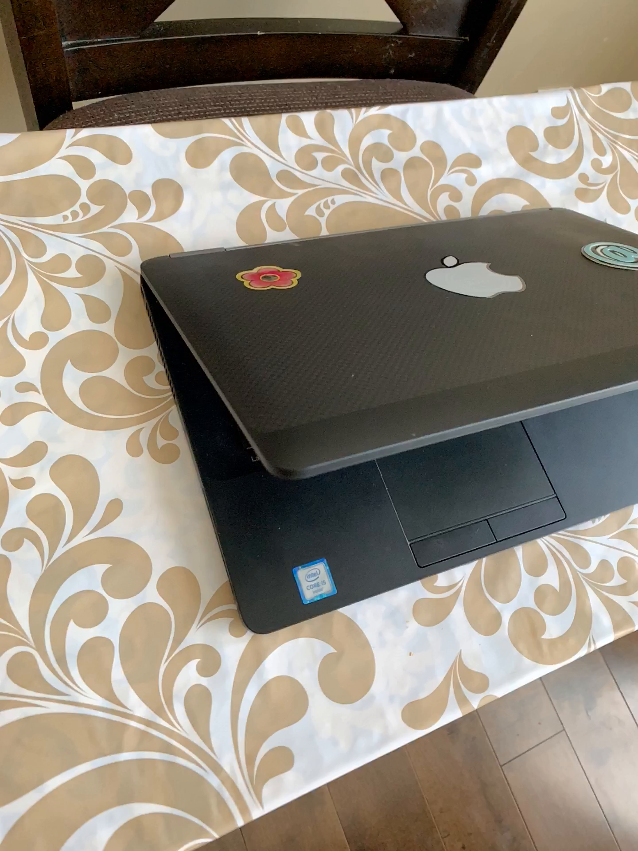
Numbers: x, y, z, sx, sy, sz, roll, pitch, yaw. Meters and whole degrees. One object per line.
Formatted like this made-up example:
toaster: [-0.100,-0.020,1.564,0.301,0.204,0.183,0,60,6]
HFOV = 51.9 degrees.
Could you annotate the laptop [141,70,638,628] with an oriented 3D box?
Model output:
laptop: [0.088,-0.051,0.331,0.301,0.127,0.199,-13,71,-22]
